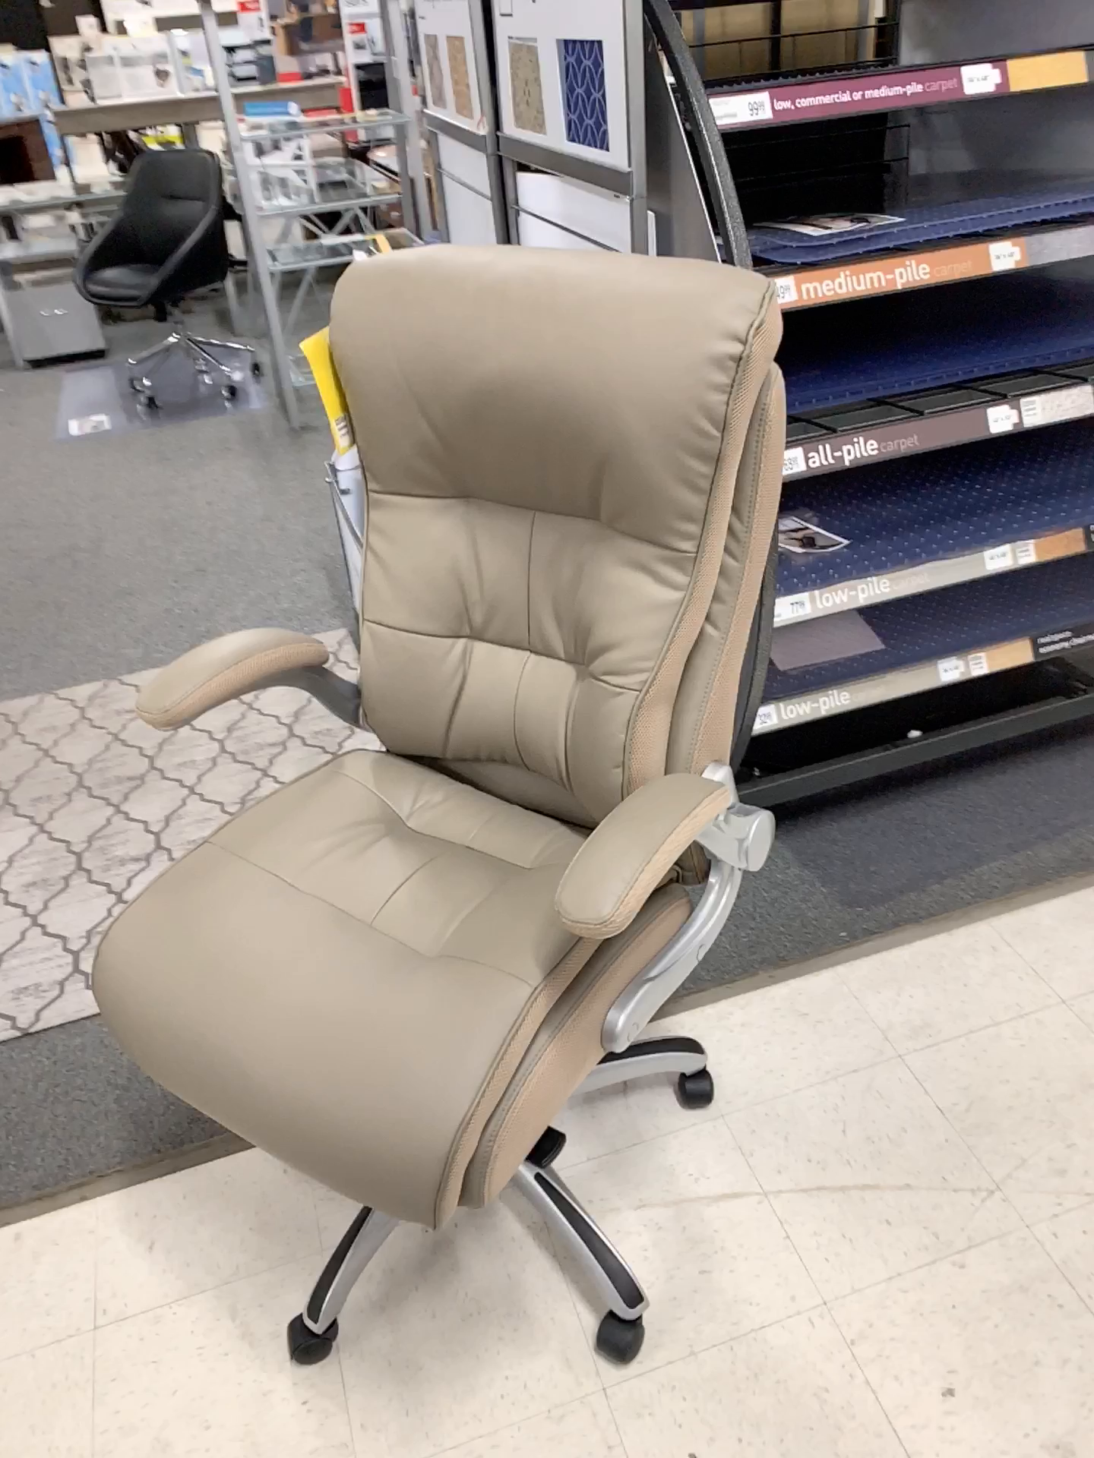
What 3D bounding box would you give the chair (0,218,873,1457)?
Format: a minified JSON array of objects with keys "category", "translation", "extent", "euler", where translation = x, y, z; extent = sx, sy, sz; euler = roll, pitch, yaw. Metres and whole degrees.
[{"category":"chair","translation":[-0.159,0.117,1.273],"extent":[0.713,1.144,0.721],"euler":[18,40,31]}]
